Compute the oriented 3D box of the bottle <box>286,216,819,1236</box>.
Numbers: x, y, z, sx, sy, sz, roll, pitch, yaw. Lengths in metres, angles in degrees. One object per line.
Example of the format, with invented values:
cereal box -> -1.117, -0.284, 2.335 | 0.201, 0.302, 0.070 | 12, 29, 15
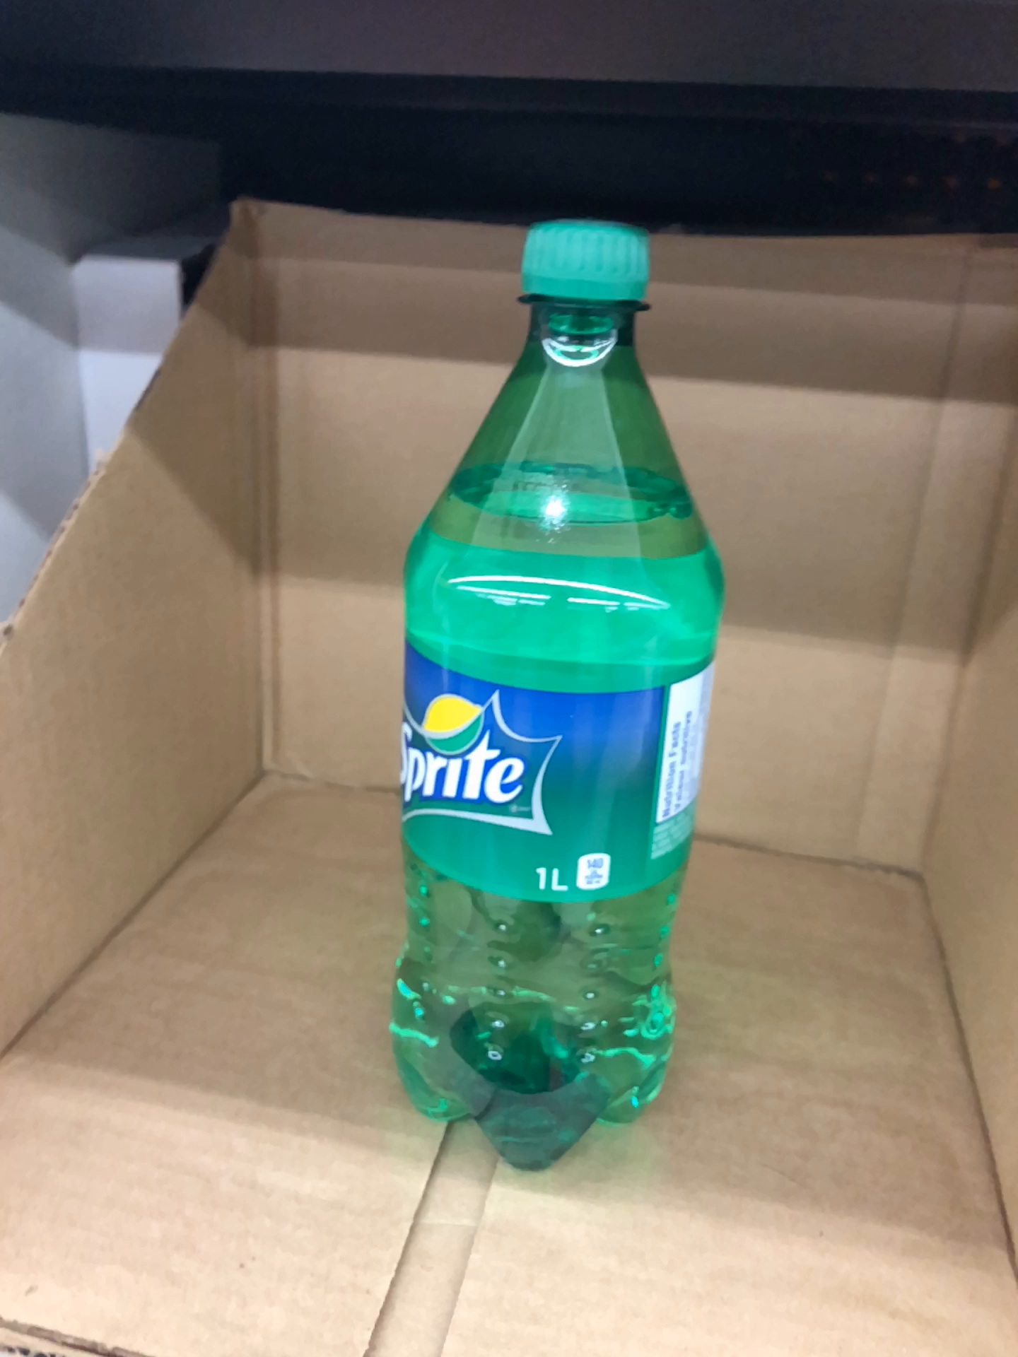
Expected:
bottle -> 0.007, 0.009, 0.314 | 0.090, 0.248, 0.090 | 2, 23, -1
